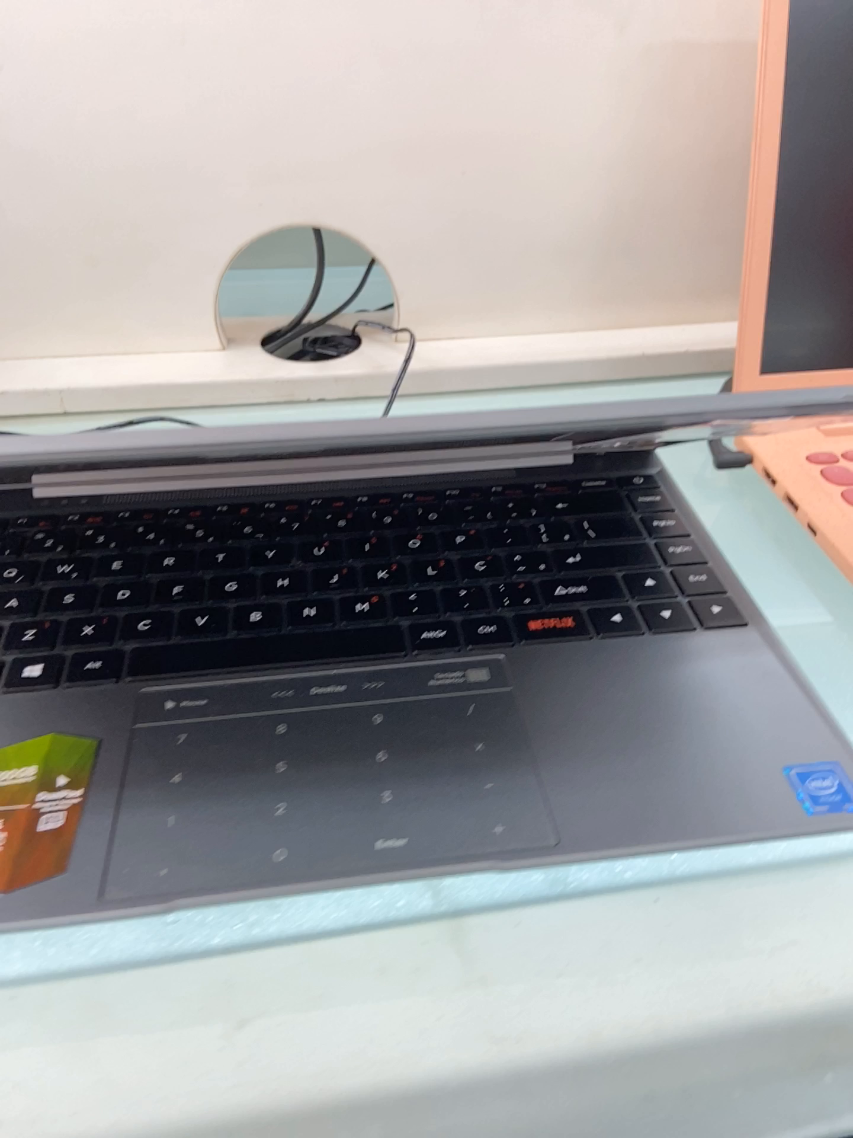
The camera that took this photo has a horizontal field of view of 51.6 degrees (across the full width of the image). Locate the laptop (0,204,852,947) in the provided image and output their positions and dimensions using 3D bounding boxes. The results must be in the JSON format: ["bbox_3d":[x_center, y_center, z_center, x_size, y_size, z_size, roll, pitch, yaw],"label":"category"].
[{"bbox_3d":[-0.035,-0.026,0.289,0.333,0.113,0.212,-4,38,-6],"label":"laptop"}]
